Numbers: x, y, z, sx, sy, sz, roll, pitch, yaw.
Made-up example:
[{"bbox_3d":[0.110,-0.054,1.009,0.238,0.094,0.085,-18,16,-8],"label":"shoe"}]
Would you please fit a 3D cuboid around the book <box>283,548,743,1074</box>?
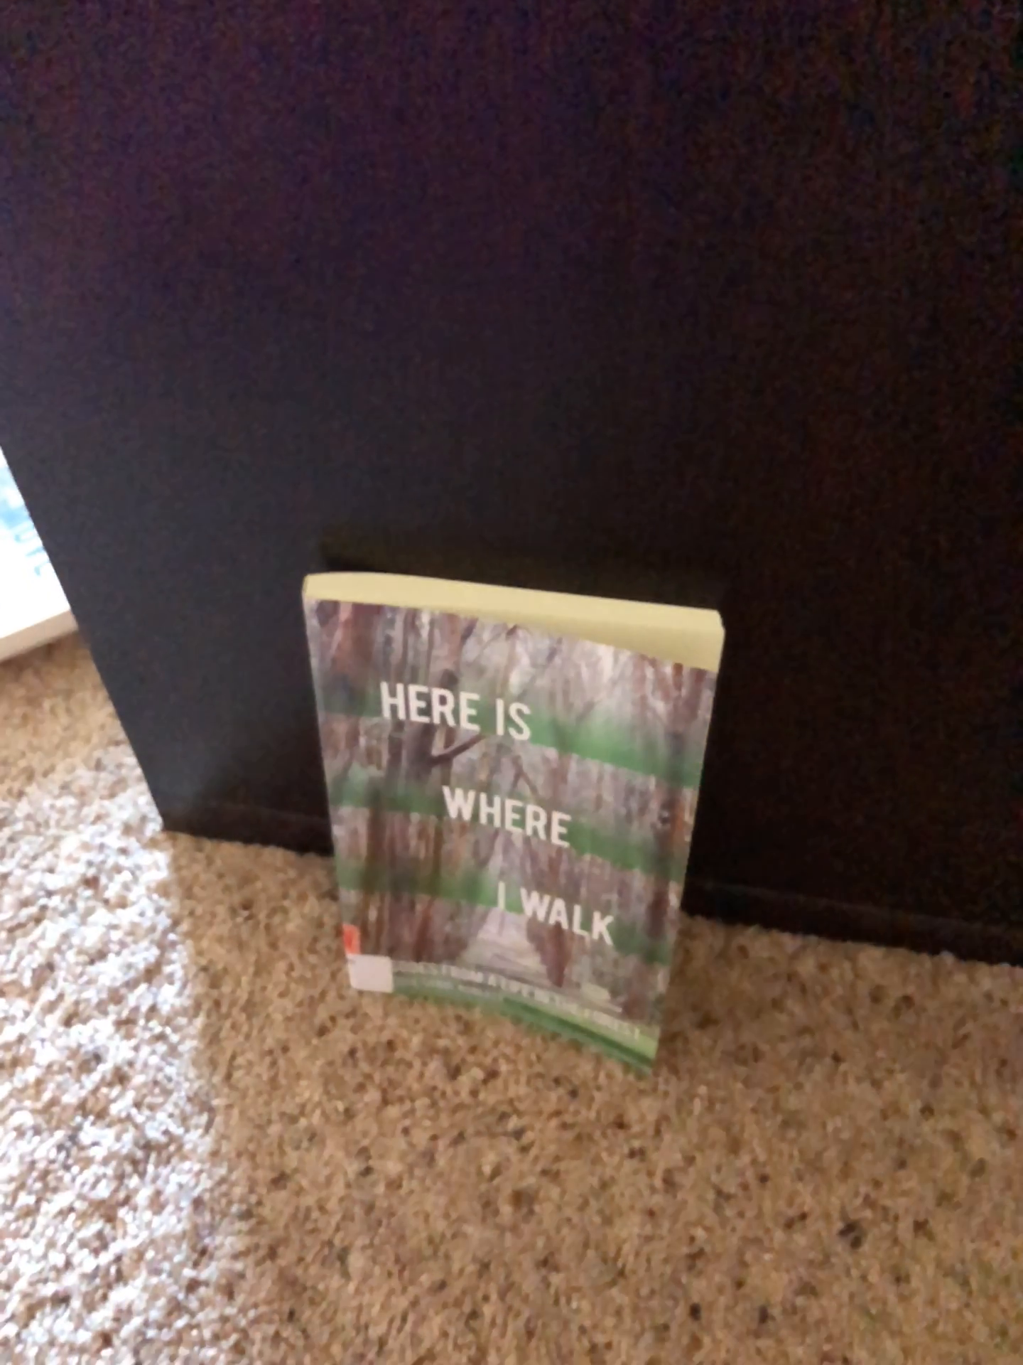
[{"bbox_3d":[-0.001,0.058,0.434,0.146,0.212,0.037,7,36,6],"label":"book"}]
